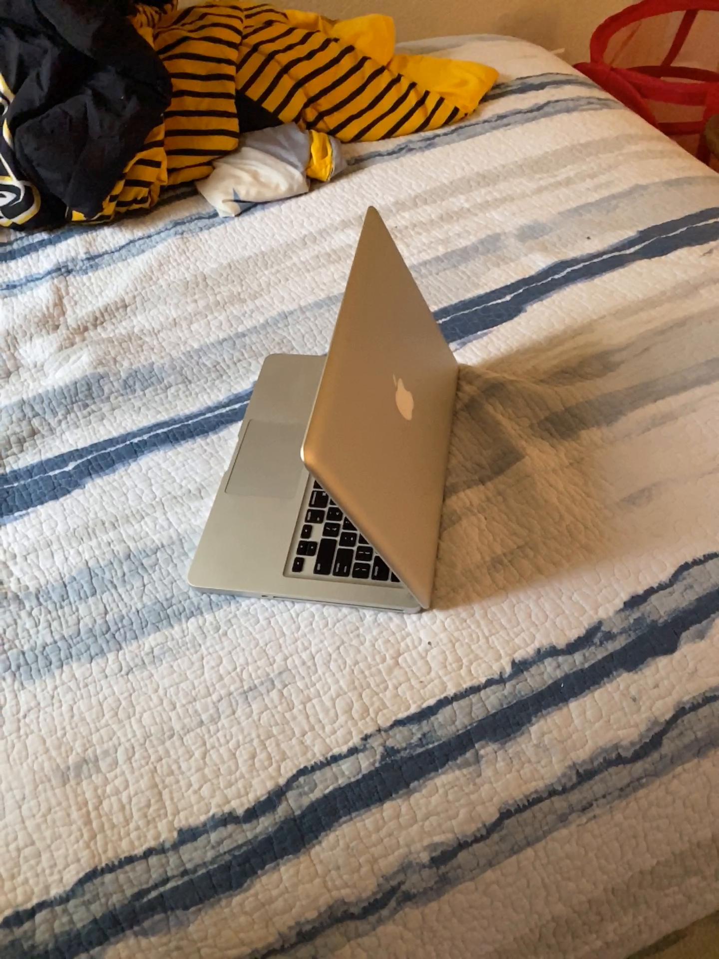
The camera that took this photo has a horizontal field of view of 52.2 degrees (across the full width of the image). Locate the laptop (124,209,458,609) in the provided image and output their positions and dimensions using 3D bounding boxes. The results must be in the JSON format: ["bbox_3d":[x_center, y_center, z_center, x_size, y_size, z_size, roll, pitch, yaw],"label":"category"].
[{"bbox_3d":[-0.034,-0.078,0.689,0.220,0.191,0.316,5,52,10],"label":"laptop"}]
